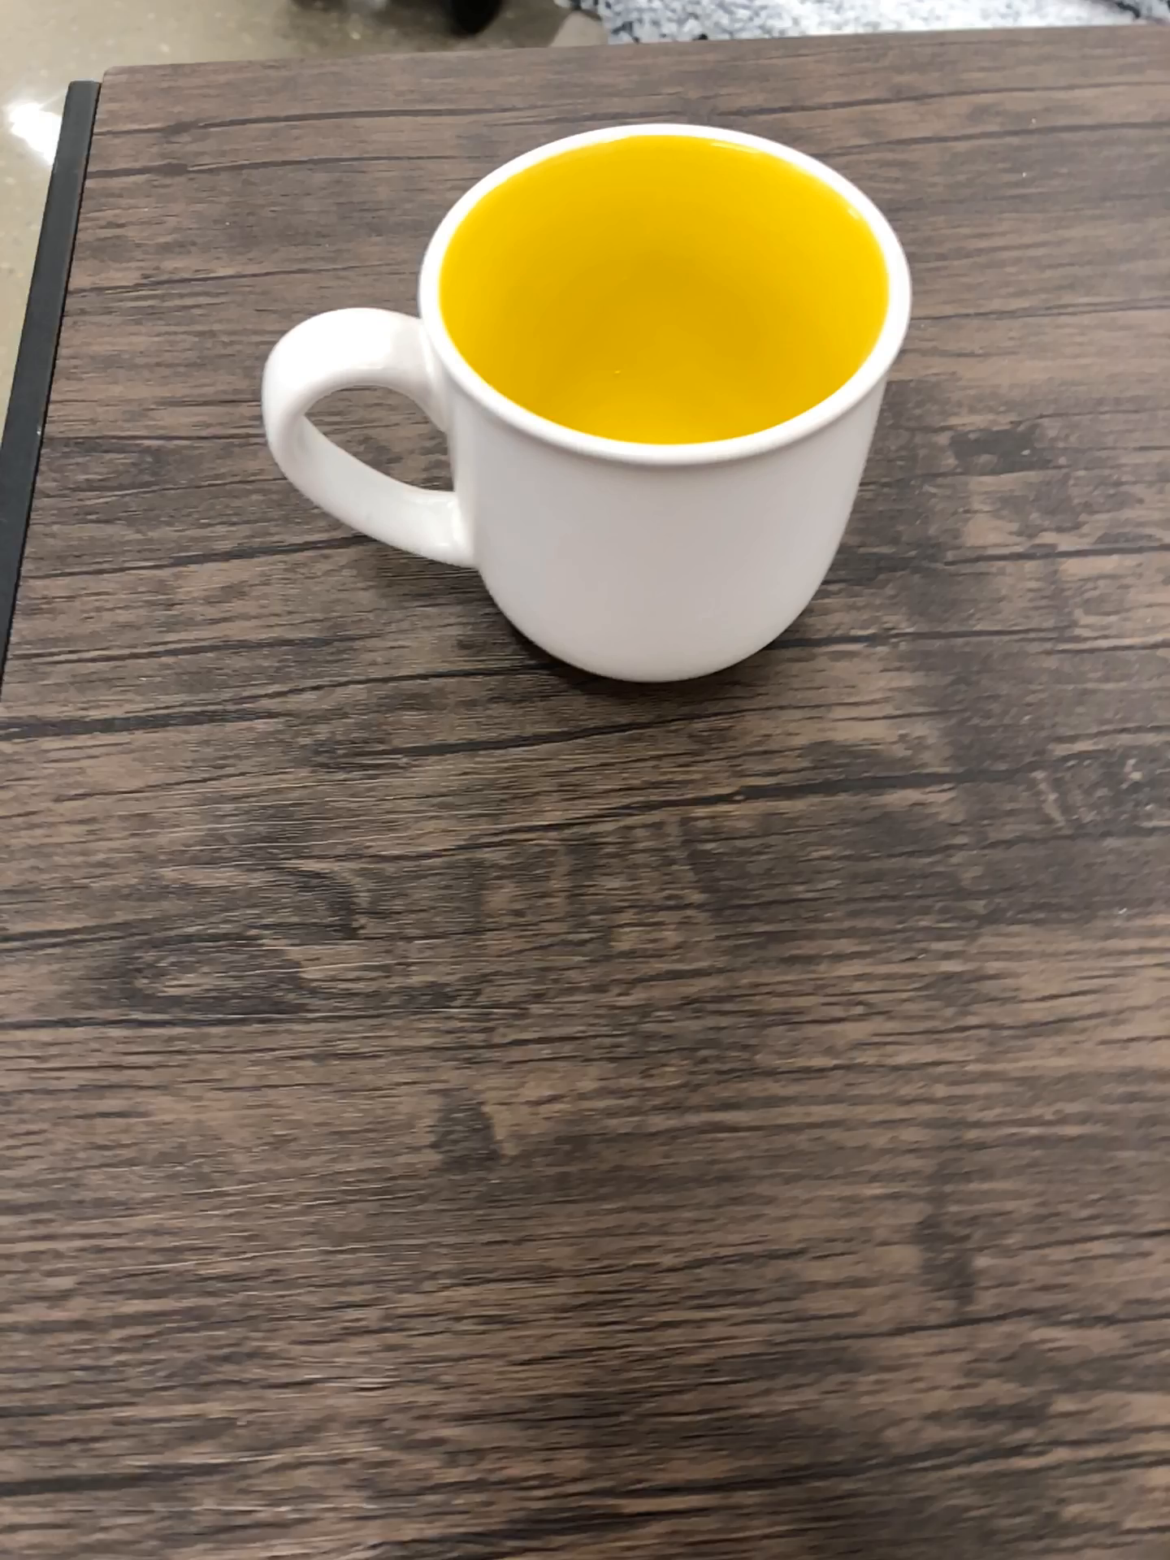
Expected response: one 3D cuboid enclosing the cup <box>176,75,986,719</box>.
[{"bbox_3d":[-0.001,-0.075,0.272,0.130,0.100,0.080,-1,60,-1],"label":"cup"}]
